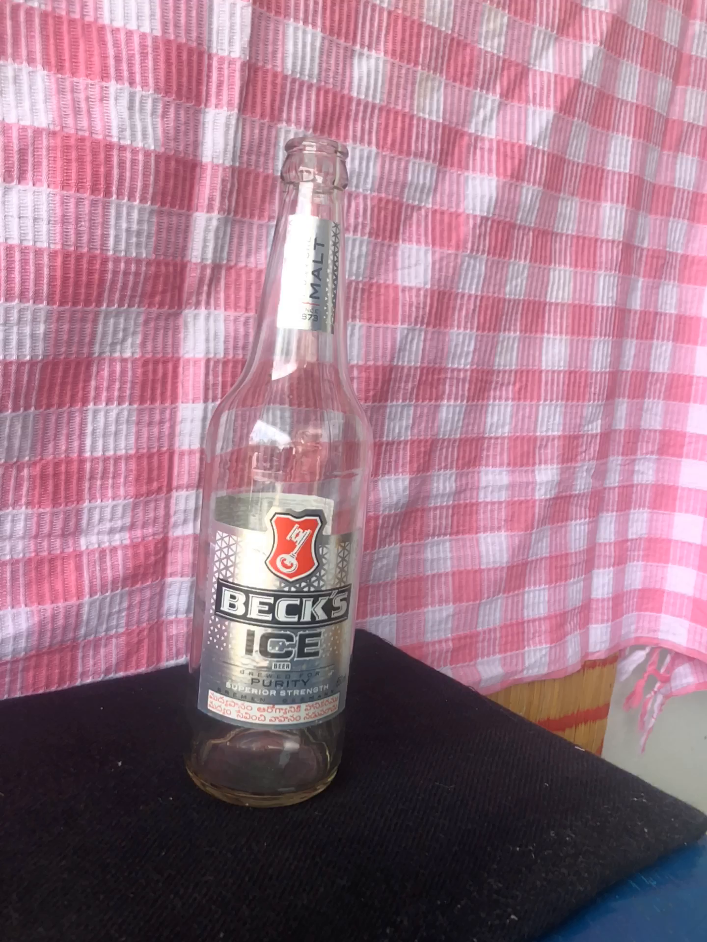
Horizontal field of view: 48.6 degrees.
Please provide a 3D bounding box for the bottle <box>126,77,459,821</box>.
[{"bbox_3d":[-0.030,-0.002,0.328,0.090,0.269,0.080,7,10,-7],"label":"bottle"}]
